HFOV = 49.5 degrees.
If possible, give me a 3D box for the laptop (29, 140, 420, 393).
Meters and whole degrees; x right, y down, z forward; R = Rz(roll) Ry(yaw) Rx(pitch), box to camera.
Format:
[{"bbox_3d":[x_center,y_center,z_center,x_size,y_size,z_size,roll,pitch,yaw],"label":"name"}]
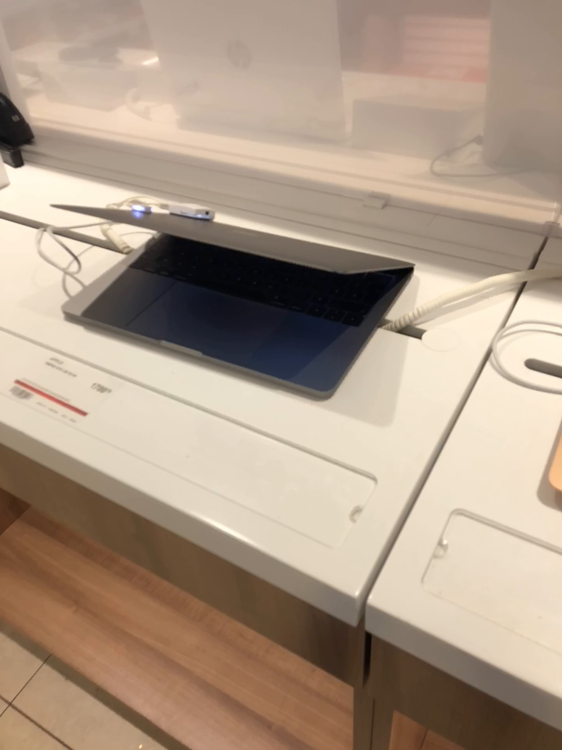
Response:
[{"bbox_3d":[-0.047,-0.126,0.597,0.304,0.104,0.202,17,45,23],"label":"laptop"}]
